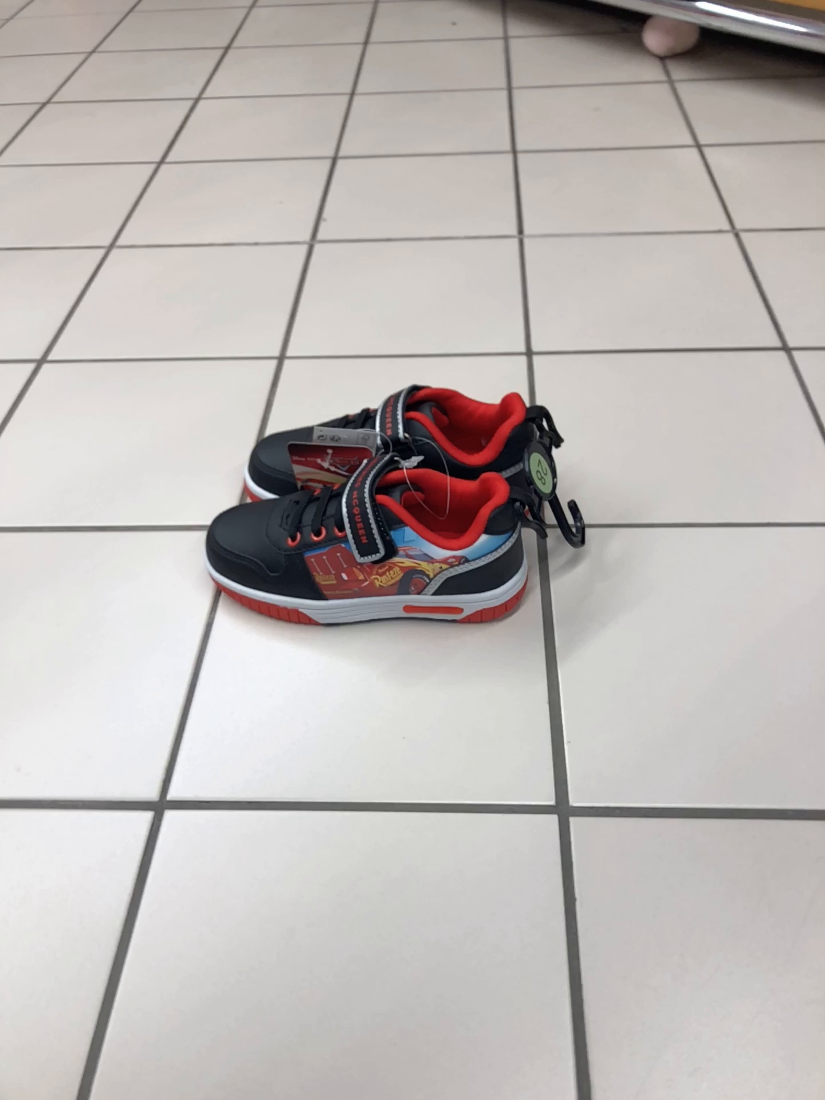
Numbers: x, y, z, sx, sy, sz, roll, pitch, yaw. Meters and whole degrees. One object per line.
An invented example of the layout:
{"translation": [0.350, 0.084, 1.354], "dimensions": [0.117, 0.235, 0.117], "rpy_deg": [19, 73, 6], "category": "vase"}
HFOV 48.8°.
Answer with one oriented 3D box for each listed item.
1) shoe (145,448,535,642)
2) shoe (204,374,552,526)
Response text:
{"translation": [-0.035, -0.006, 0.528], "dimensions": [0.206, 0.053, 0.095], "rpy_deg": [2, 45, 7], "category": "shoe"}
{"translation": [-0.017, -0.066, 0.586], "dimensions": [0.209, 0.053, 0.080], "rpy_deg": [2, 45, 7], "category": "shoe"}
